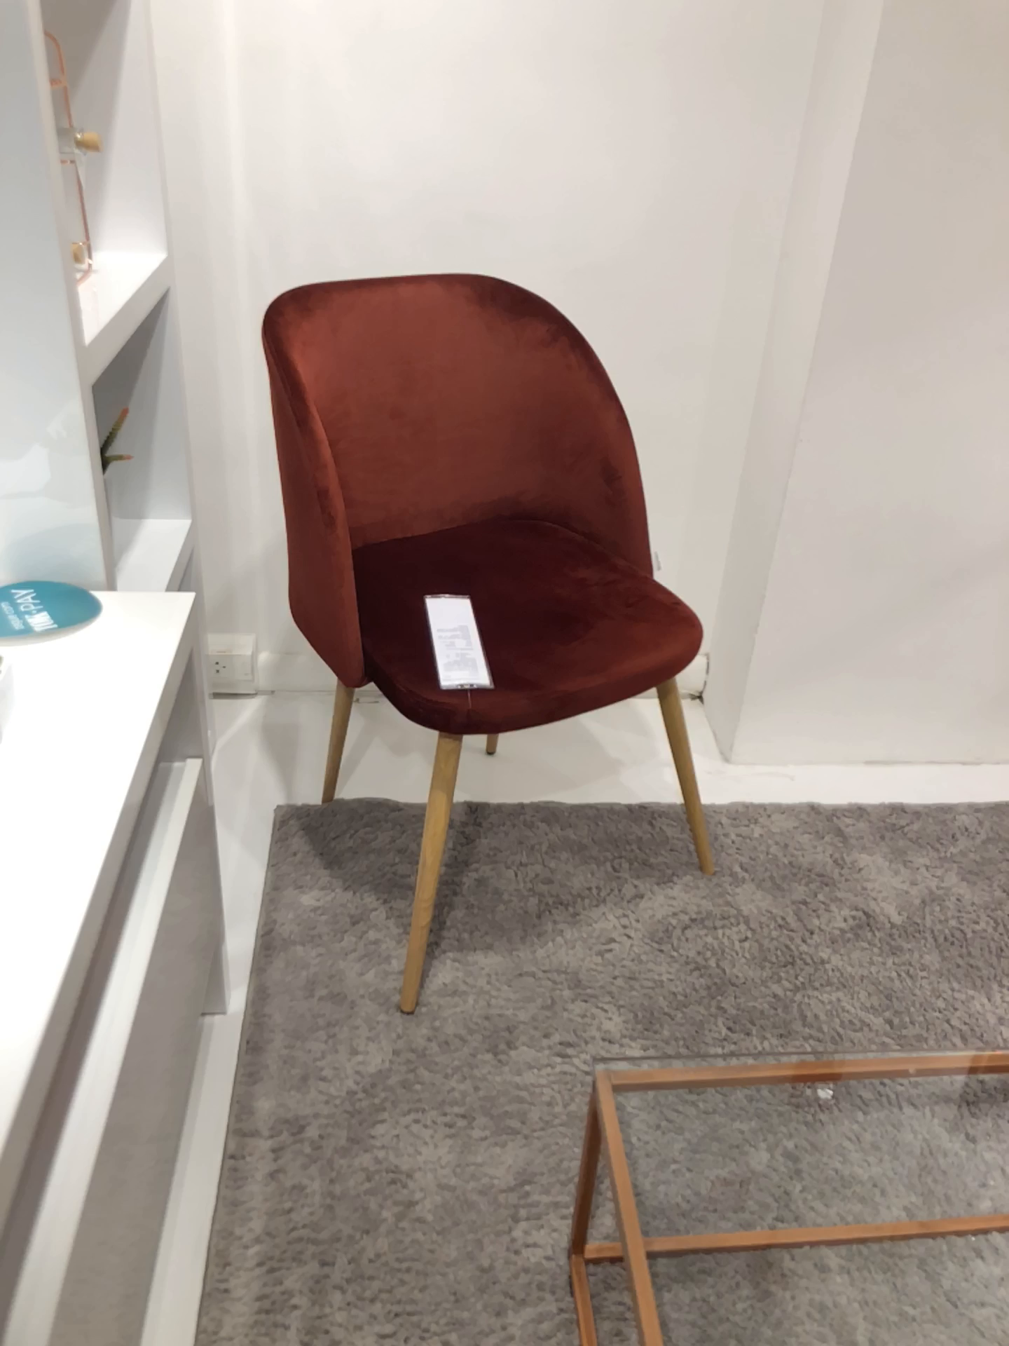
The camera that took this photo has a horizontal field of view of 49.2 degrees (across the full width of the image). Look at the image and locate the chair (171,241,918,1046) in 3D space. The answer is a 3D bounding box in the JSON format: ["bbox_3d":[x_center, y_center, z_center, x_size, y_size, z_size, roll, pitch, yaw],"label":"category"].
[{"bbox_3d":[0.001,-0.111,1.461,0.592,0.734,0.652,-18,38,-34],"label":"chair"}]
